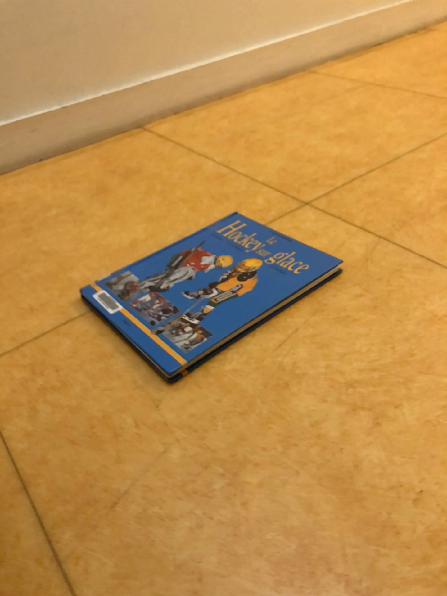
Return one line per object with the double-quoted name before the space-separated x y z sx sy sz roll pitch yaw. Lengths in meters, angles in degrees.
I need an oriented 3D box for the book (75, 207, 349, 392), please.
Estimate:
"book" -0.015 -0.021 0.603 0.261 0.020 0.210 -31 43 -27
